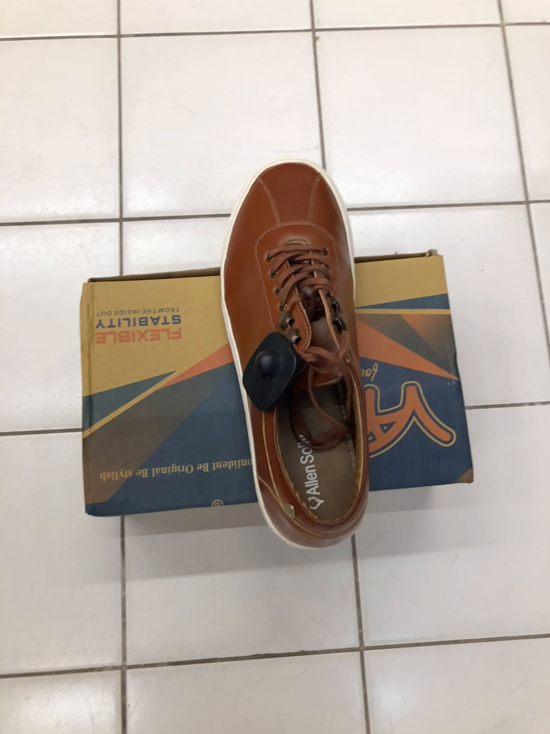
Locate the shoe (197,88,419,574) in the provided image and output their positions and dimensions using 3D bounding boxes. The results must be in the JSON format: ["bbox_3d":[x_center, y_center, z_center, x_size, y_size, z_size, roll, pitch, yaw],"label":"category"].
[{"bbox_3d":[0.014,-0.022,0.404,0.100,0.110,0.280,-5,79,-2],"label":"shoe"}]
